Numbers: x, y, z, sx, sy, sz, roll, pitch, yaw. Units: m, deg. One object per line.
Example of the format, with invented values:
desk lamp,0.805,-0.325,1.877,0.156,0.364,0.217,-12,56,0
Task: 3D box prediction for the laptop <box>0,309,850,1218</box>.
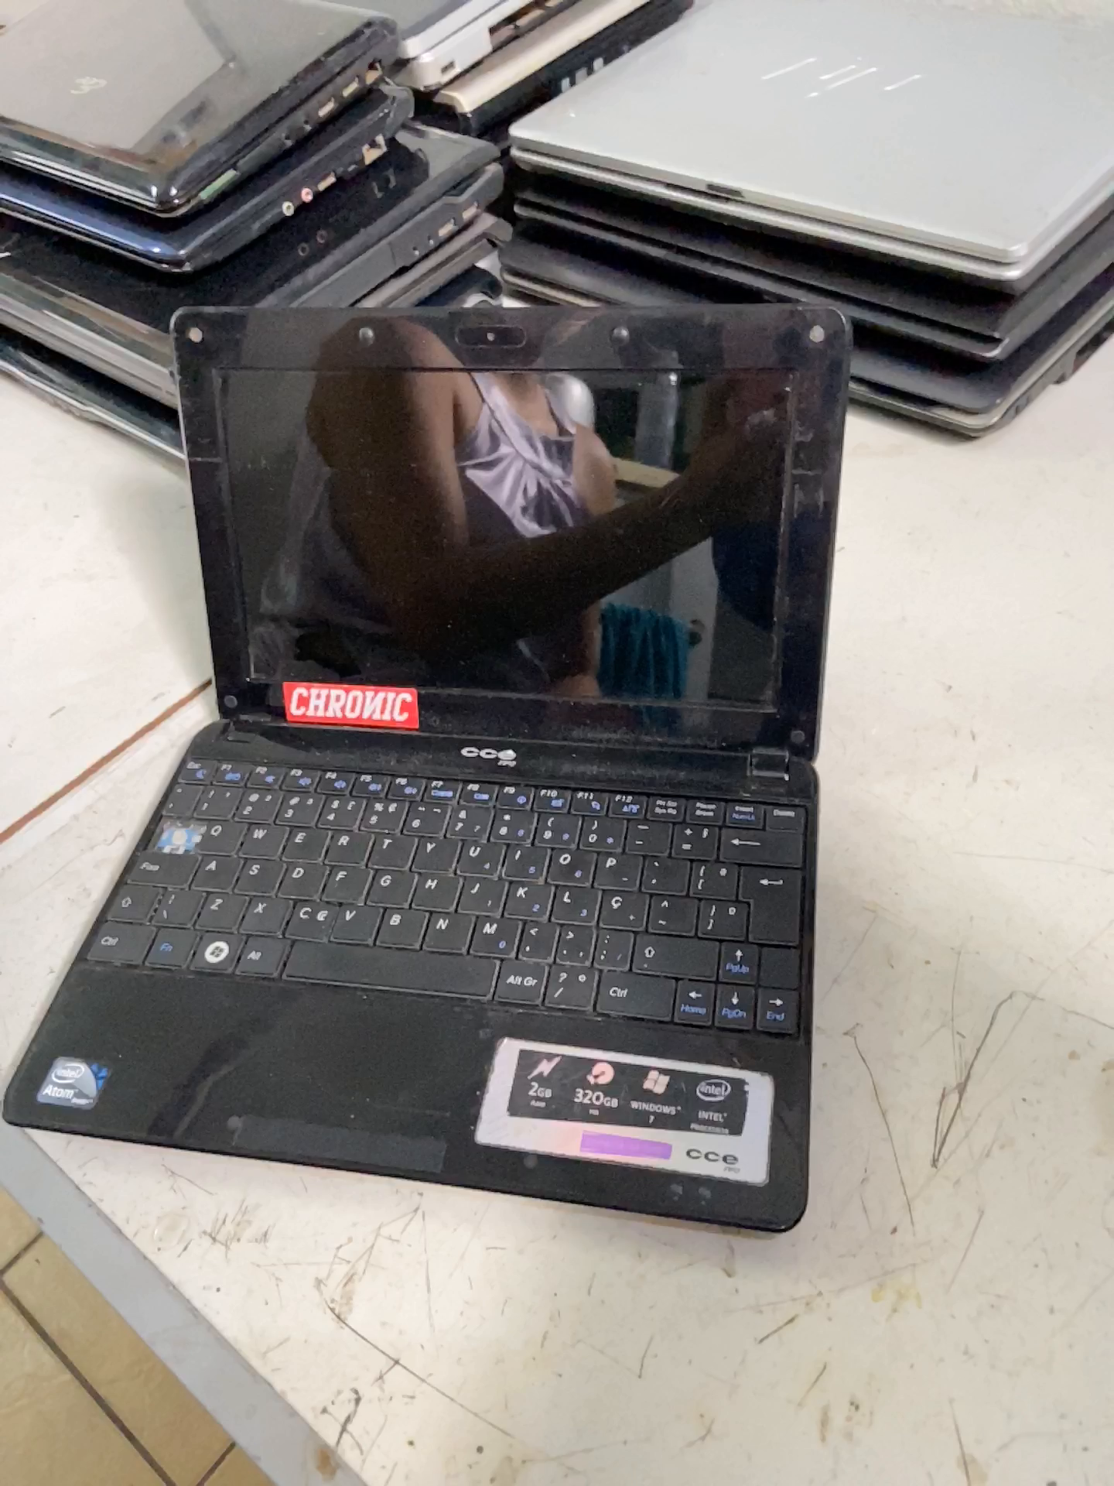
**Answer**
laptop,-0.040,-0.014,0.383,0.253,0.137,0.259,4,49,12
